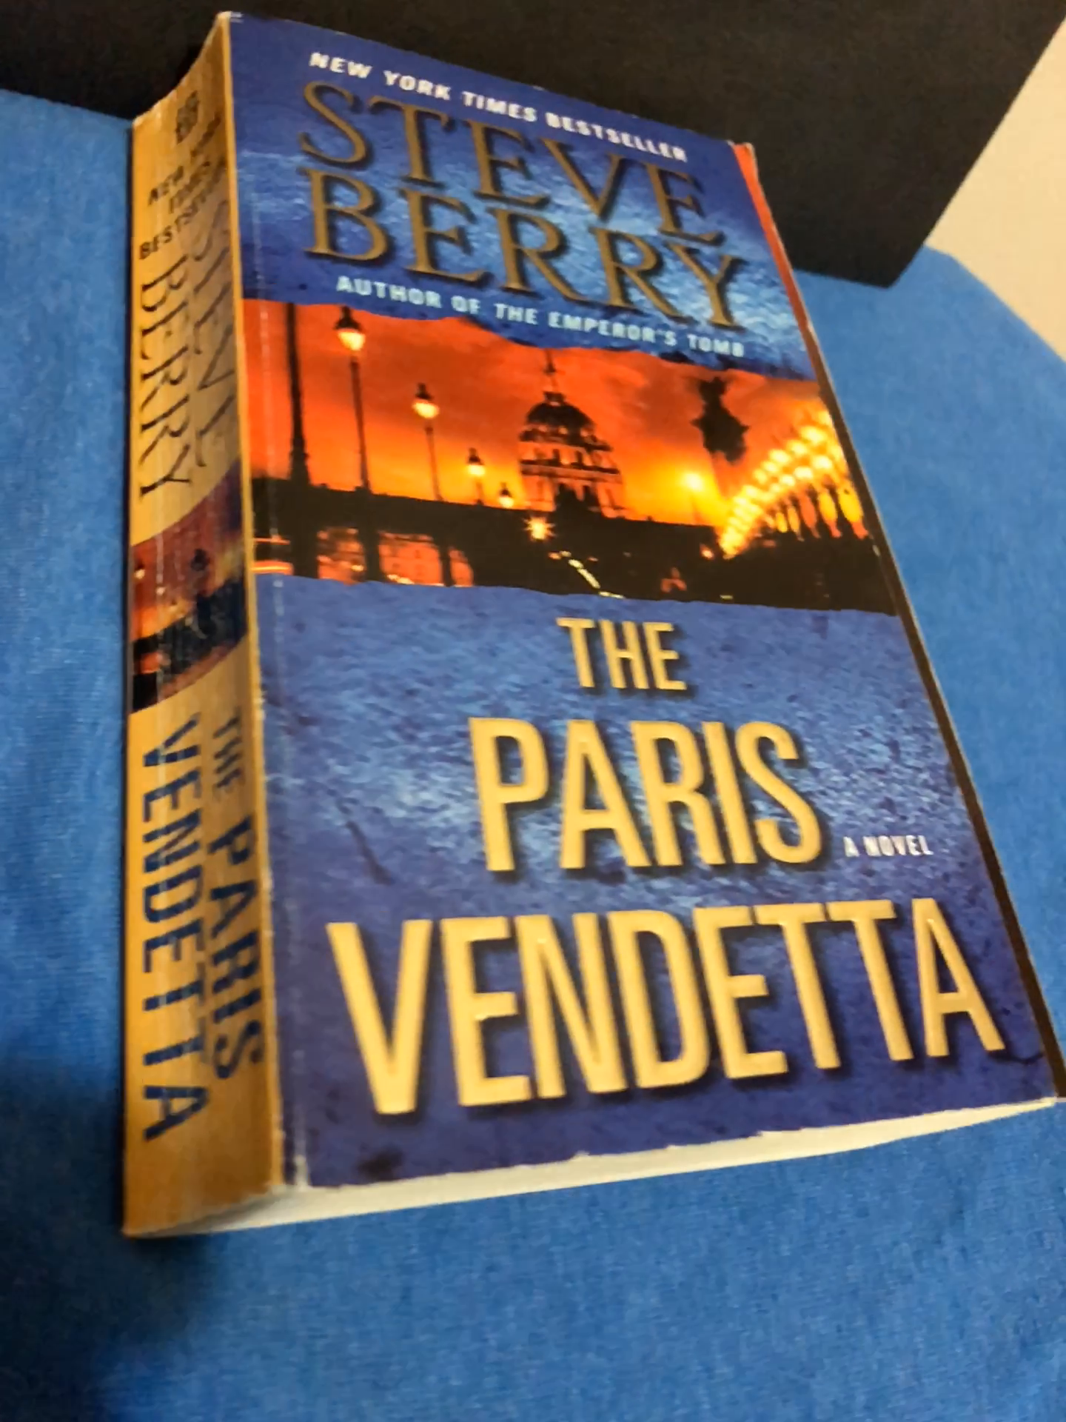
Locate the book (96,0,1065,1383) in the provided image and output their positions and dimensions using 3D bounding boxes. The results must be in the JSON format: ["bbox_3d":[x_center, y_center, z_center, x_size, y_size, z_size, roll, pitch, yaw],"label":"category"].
[{"bbox_3d":[0.000,-0.021,0.188,0.120,0.050,0.200,5,59,-28],"label":"book"}]
